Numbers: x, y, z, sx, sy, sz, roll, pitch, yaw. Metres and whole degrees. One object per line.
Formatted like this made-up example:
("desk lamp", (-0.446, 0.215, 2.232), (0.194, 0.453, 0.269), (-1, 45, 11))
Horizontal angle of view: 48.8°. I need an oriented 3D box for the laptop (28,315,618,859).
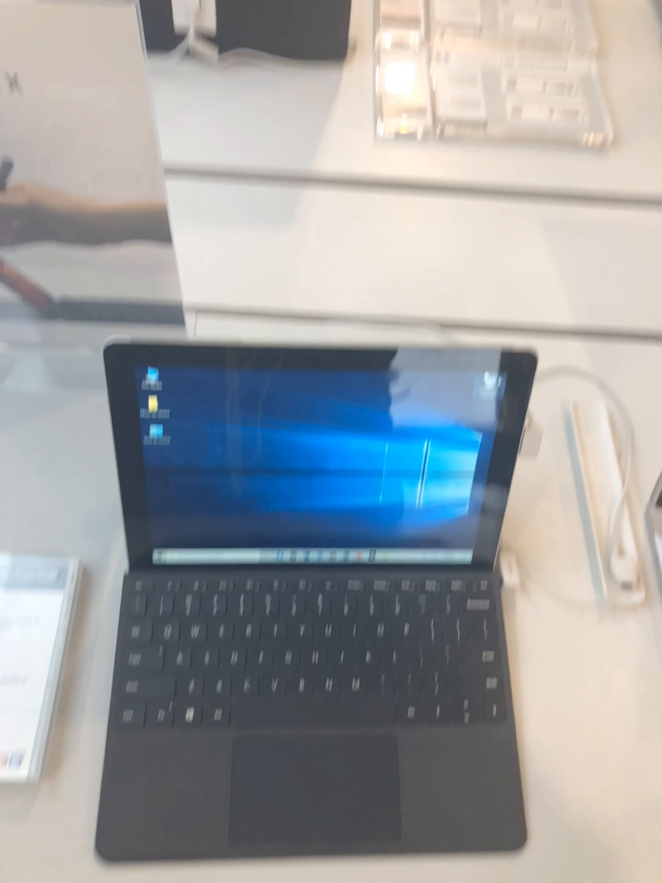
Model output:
("laptop", (-0.009, 0.083, 0.406), (0.236, 0.140, 0.250), (0, 63, -6))
